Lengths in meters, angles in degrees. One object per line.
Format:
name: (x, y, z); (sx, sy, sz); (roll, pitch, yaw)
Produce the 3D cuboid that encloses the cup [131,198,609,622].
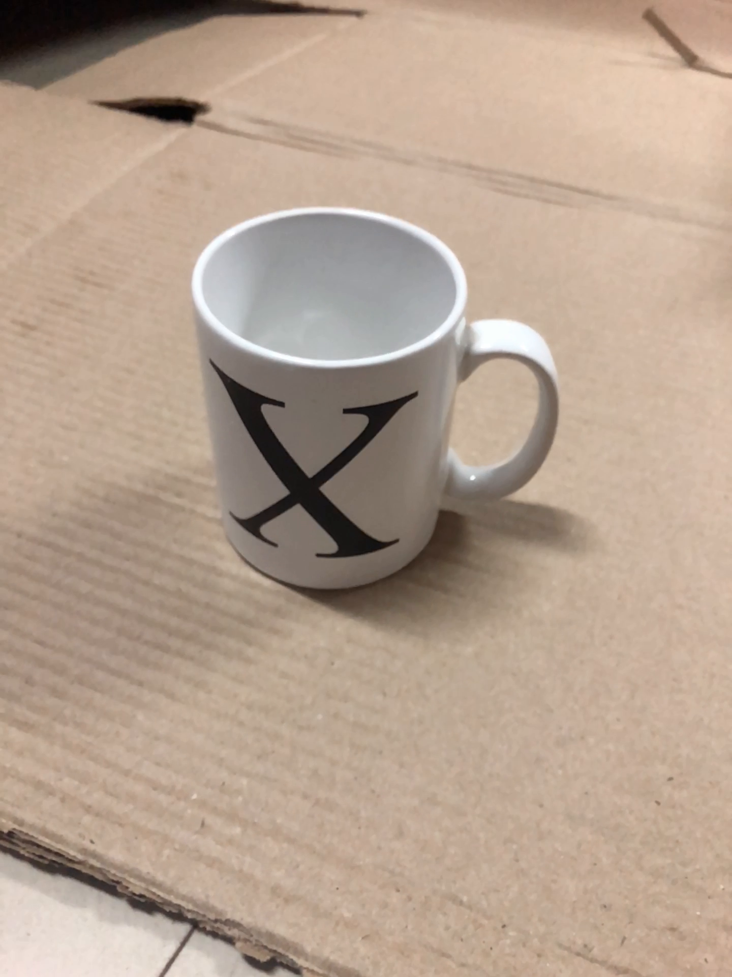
cup: (0.001, -0.024, 0.249); (0.110, 0.089, 0.081); (4, 42, 1)
